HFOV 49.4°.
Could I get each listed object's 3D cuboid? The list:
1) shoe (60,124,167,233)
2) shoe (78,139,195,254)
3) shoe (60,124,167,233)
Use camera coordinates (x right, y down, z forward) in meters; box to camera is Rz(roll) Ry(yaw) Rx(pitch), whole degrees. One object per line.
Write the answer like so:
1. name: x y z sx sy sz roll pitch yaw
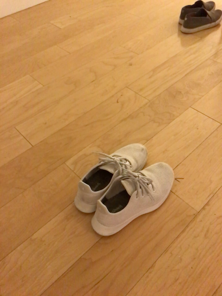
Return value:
1. shoe: 0.016 0.072 0.672 0.130 0.089 0.281 33 60 27
2. shoe: 0.069 0.108 0.607 0.281 0.070 0.120 -37 57 -23
3. shoe: 0.016 0.072 0.672 0.130 0.089 0.281 33 60 27
